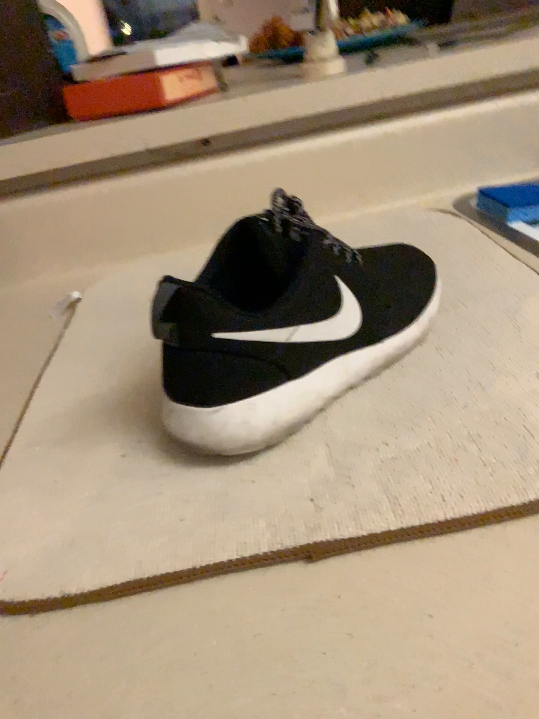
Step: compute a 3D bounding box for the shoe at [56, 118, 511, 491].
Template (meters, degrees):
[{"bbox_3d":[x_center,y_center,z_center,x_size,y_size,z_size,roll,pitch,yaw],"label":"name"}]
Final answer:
[{"bbox_3d":[0.033,-0.064,0.399,0.130,0.120,0.280,18,41,40],"label":"shoe"}]
